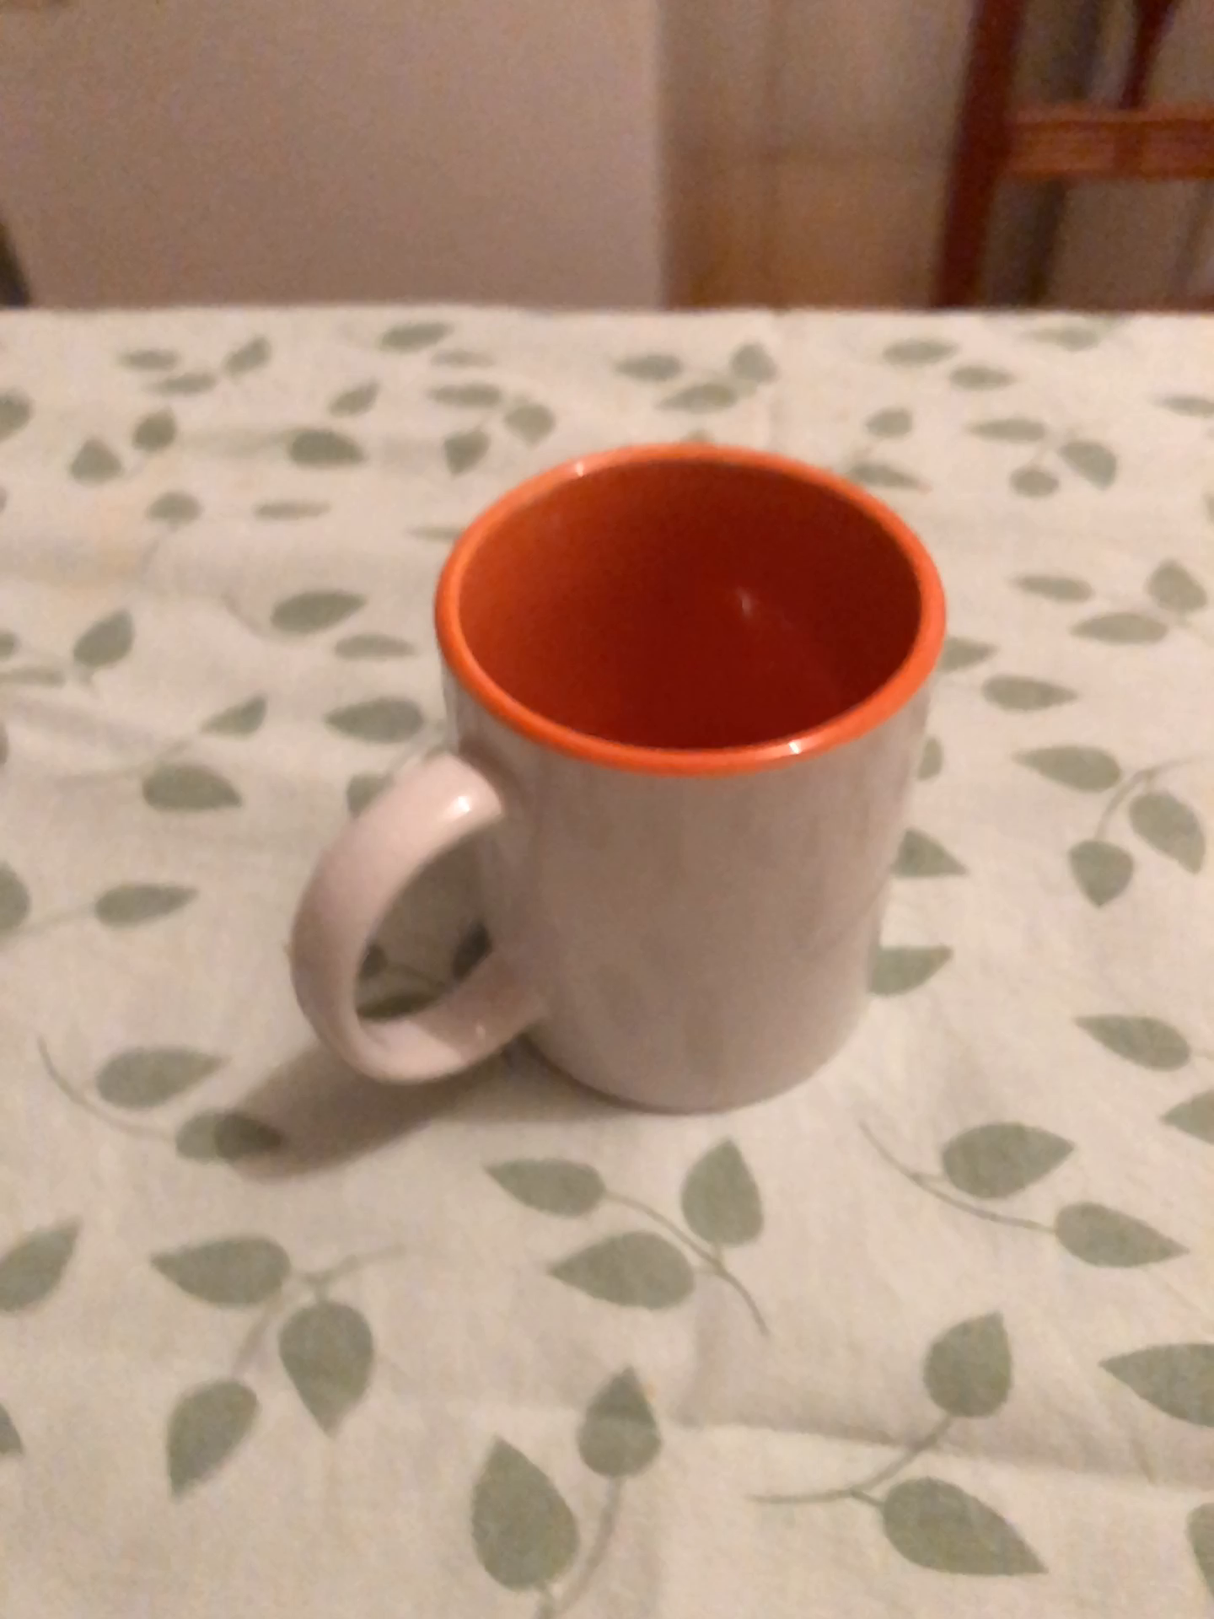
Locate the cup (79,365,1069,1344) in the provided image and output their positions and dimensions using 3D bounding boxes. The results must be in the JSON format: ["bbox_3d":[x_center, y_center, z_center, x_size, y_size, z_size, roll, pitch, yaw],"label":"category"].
[{"bbox_3d":[-0.003,0.006,0.237,0.120,0.099,0.080,-30,55,-22],"label":"cup"}]
